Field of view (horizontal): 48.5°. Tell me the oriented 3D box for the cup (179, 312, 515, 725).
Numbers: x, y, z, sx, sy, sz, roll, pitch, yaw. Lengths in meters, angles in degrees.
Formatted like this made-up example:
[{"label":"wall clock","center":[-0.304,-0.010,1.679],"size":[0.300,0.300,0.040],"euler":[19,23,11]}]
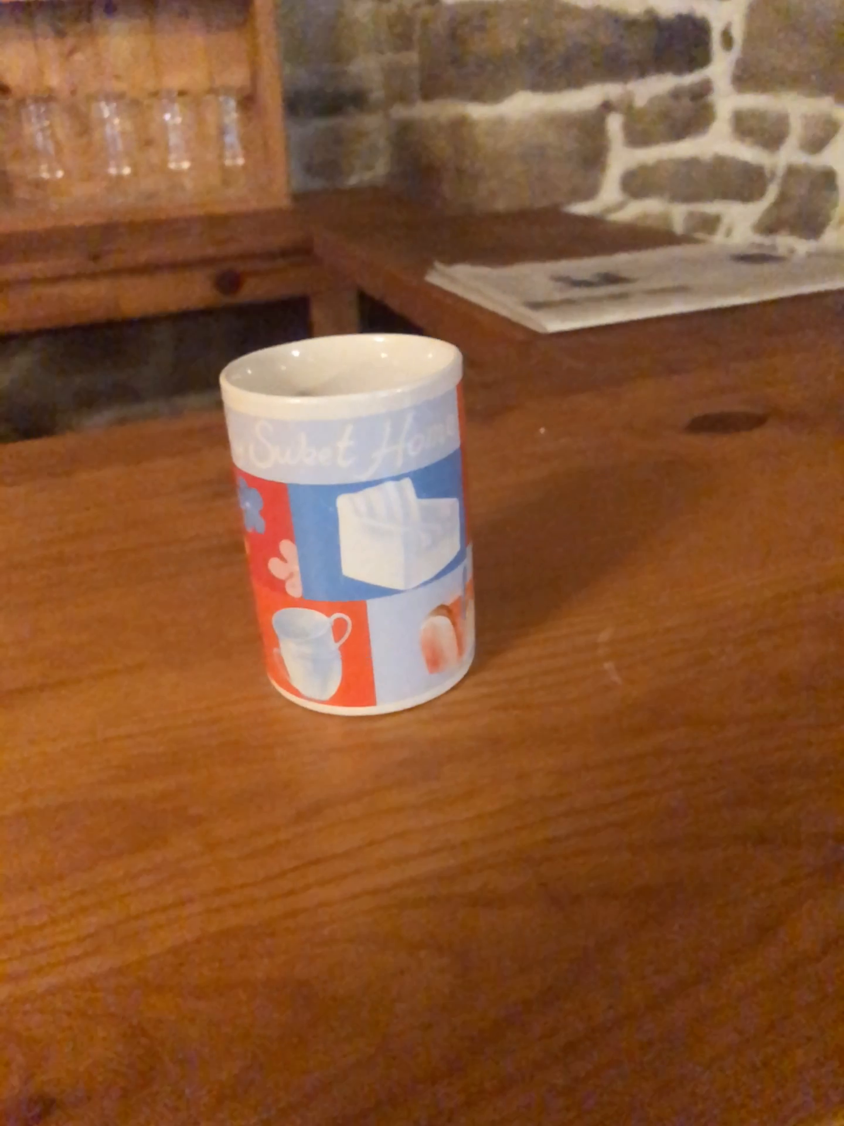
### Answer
[{"label":"cup","center":[-0.014,-0.022,0.314],"size":[0.080,0.099,0.112],"euler":[2,26,10]}]
